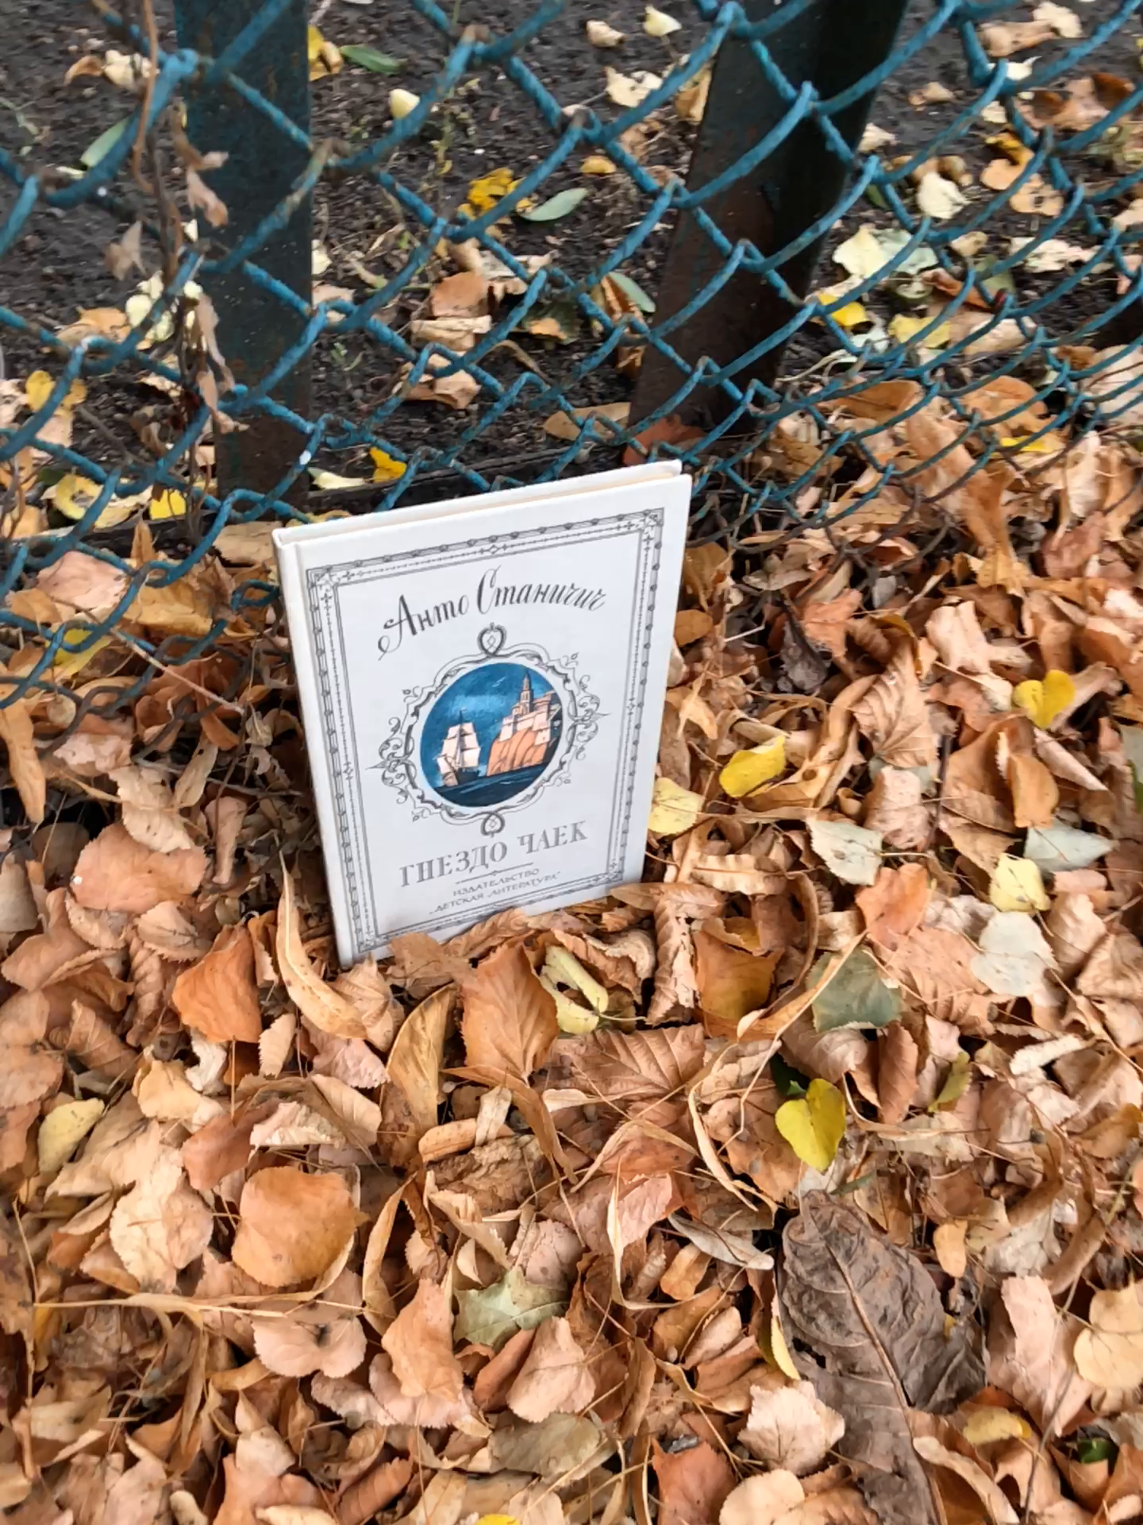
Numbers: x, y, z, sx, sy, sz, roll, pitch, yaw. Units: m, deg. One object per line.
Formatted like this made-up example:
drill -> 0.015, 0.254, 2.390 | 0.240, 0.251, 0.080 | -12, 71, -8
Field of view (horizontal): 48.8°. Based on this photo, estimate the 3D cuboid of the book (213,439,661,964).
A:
book -> -0.041, -0.011, 0.433 | 0.128, 0.200, 0.016 | -13, 49, -15
